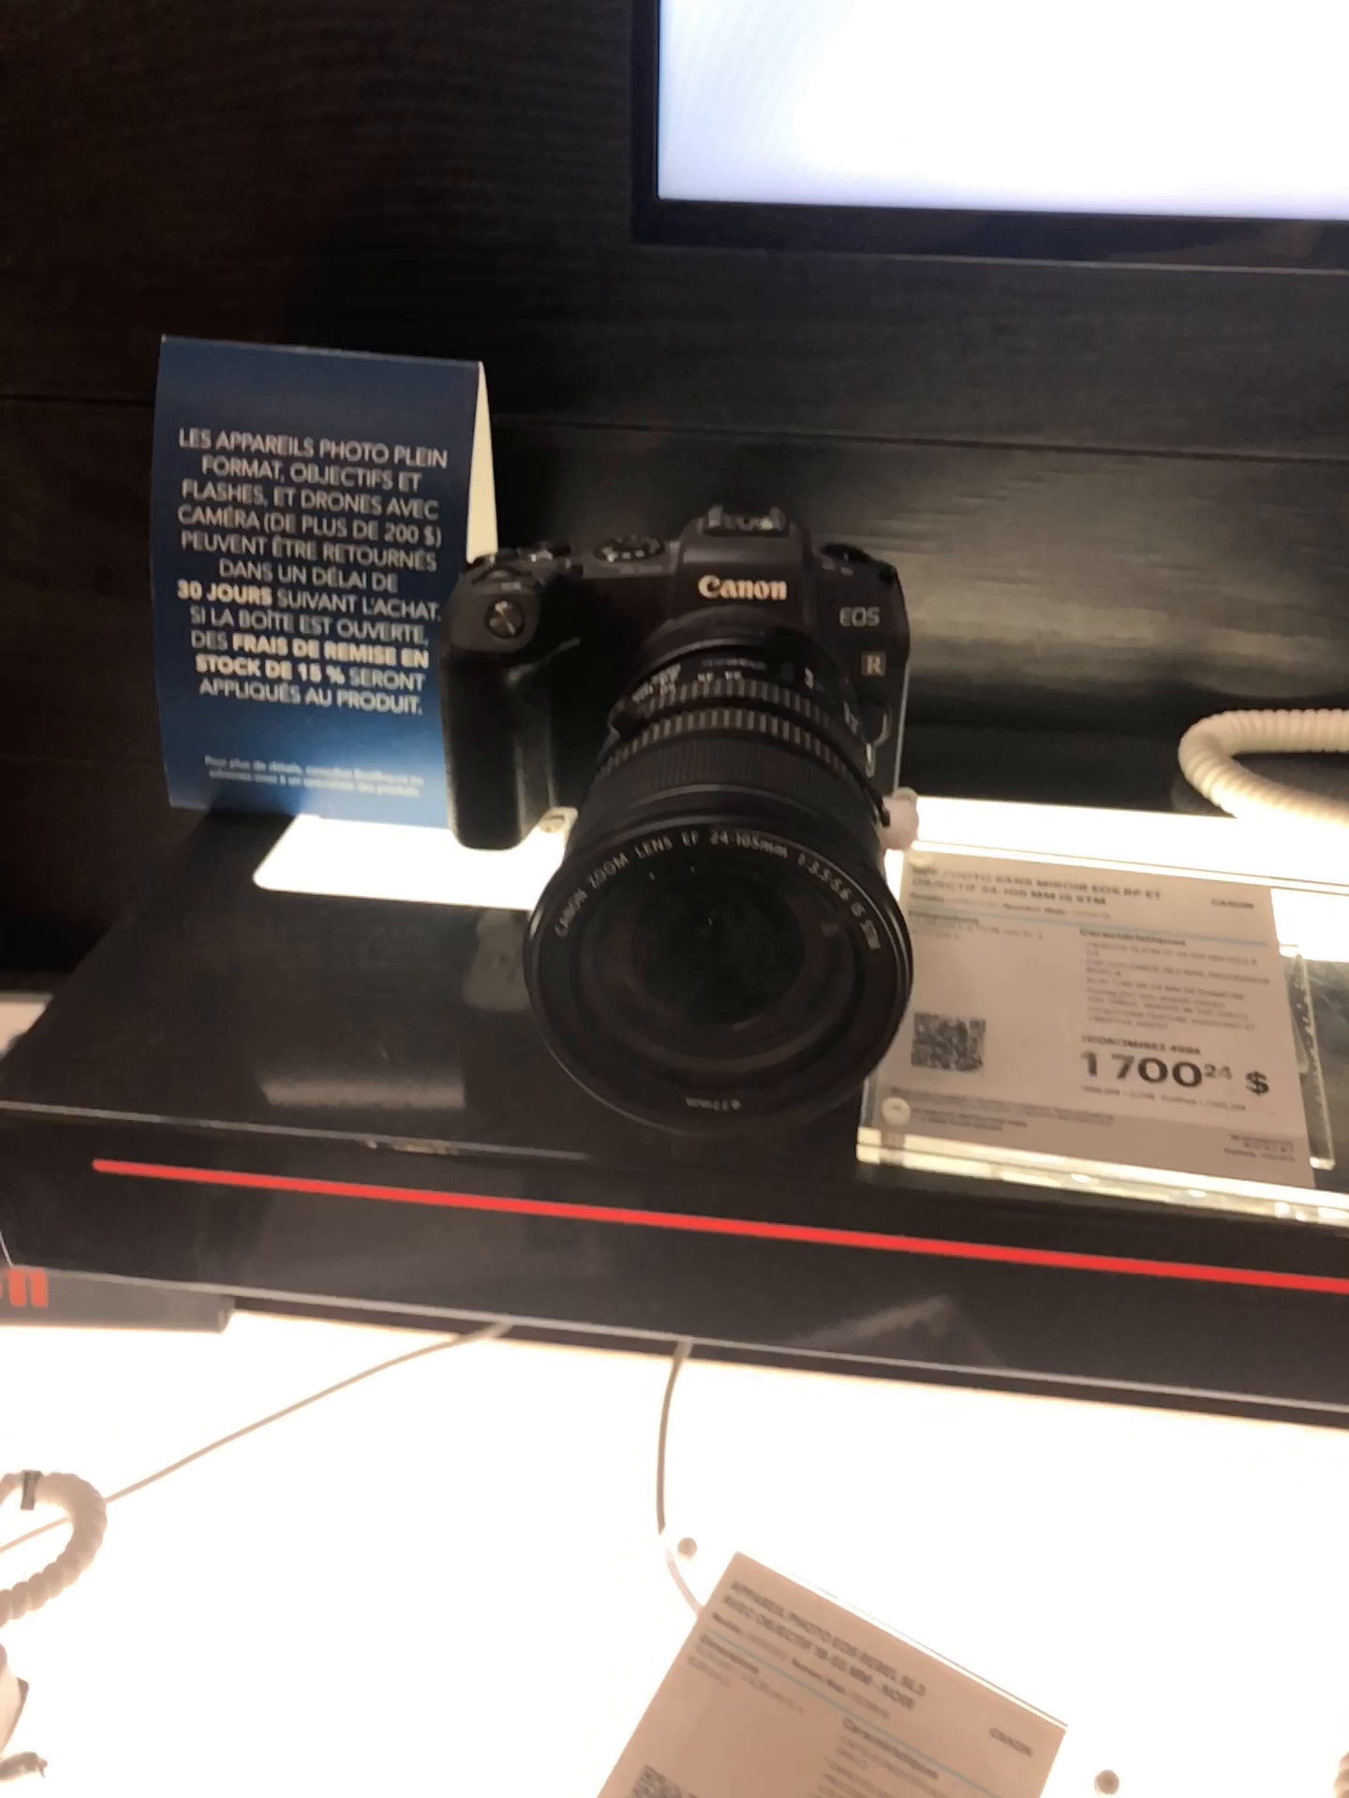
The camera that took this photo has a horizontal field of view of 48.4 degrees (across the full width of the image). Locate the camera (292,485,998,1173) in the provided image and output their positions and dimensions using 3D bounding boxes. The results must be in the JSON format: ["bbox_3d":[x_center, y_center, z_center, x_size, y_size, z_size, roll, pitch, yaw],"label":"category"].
[{"bbox_3d":[-0.001,-0.031,0.373,0.128,0.099,0.178,3,27,3],"label":"camera"}]
